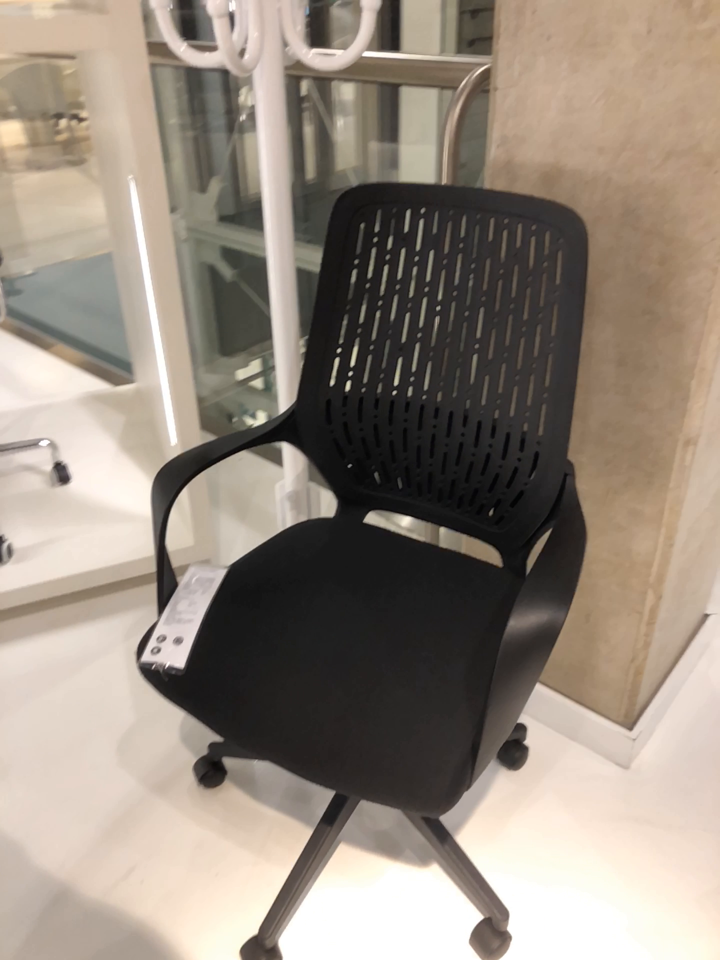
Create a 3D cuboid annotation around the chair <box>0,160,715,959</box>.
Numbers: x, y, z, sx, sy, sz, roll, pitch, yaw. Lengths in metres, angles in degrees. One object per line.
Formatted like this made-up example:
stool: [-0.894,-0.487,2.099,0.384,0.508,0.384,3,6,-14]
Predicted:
chair: [-0.004,0.165,1.158,0.641,1.022,0.704,18,37,27]
